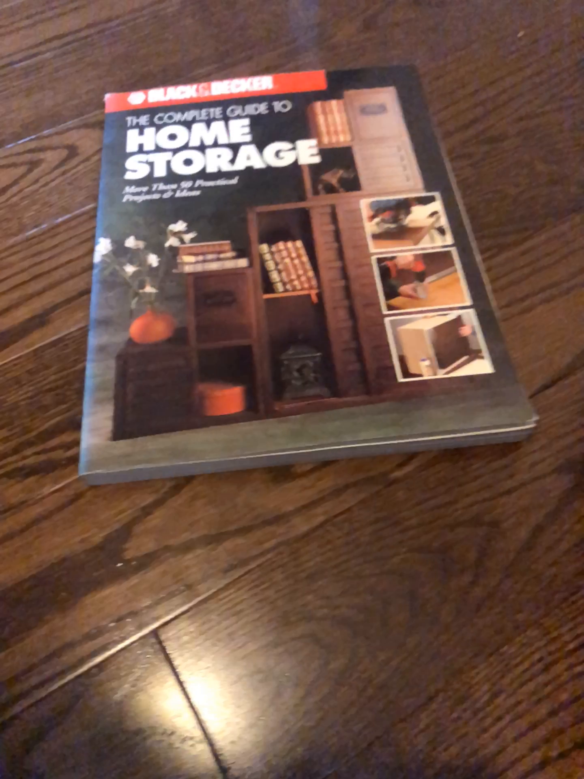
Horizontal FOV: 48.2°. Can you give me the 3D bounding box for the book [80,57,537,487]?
[{"bbox_3d":[-0.007,-0.092,0.385,0.215,0.020,0.287,-6,60,-2],"label":"book"}]
